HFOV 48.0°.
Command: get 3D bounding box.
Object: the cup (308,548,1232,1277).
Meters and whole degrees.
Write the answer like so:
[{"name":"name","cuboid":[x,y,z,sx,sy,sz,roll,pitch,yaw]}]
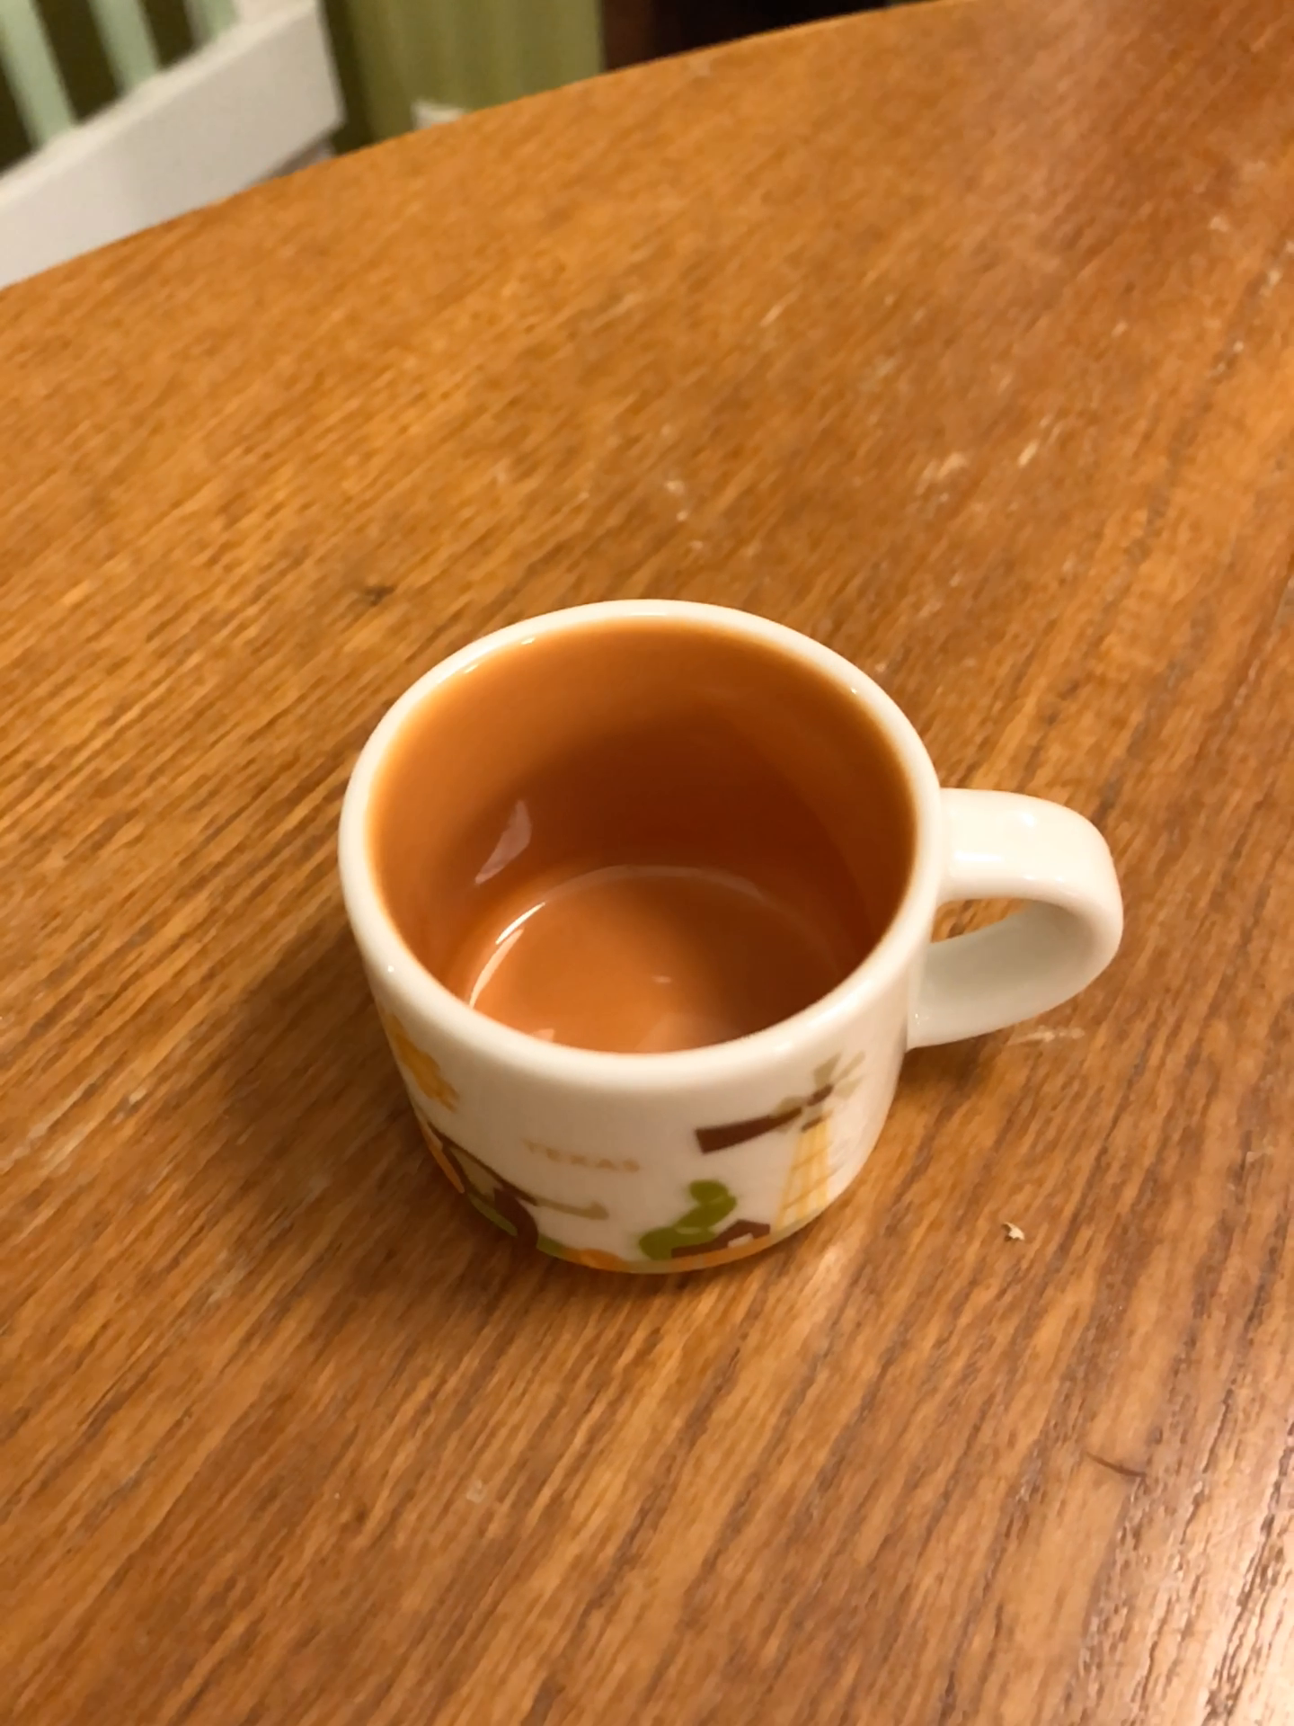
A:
[{"name":"cup","cuboid":[0.010,0.006,0.163,0.080,0.049,0.060,-4,53,0]}]
